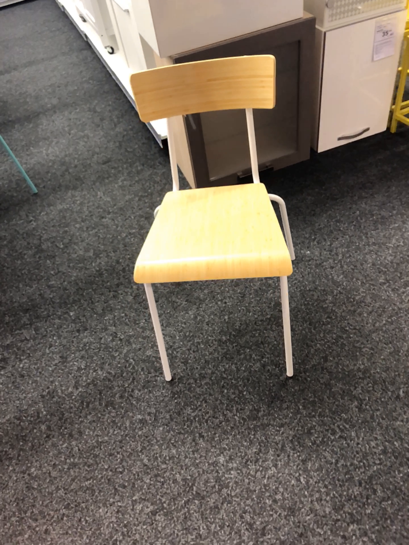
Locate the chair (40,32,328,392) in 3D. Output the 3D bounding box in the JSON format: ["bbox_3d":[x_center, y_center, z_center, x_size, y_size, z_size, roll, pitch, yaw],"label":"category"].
[{"bbox_3d":[0.017,-0.131,1.318,0.540,0.816,0.583,-5,46,7],"label":"chair"}]
